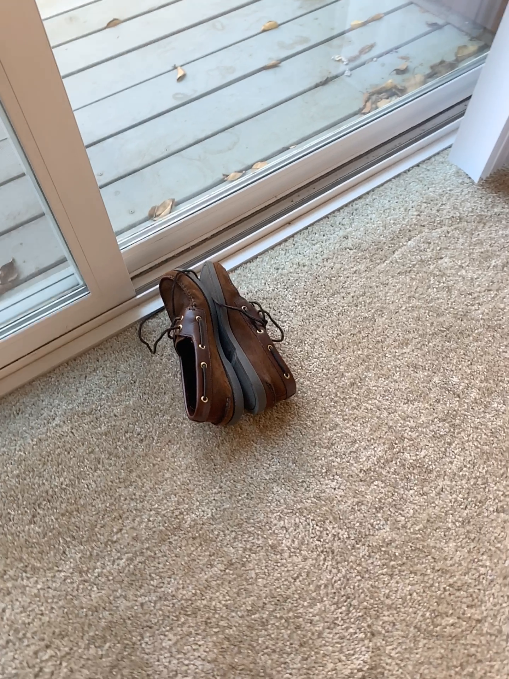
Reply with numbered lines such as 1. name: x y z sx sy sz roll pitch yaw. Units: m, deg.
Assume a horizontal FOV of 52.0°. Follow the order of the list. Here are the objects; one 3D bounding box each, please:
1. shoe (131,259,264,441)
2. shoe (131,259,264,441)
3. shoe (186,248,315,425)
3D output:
1. shoe: -0.105 0.009 0.858 0.090 0.110 0.281 -12 57 -31
2. shoe: -0.105 0.009 0.858 0.090 0.110 0.281 -12 57 -31
3. shoe: -0.017 -0.012 0.870 0.090 0.110 0.271 -16 60 -23
